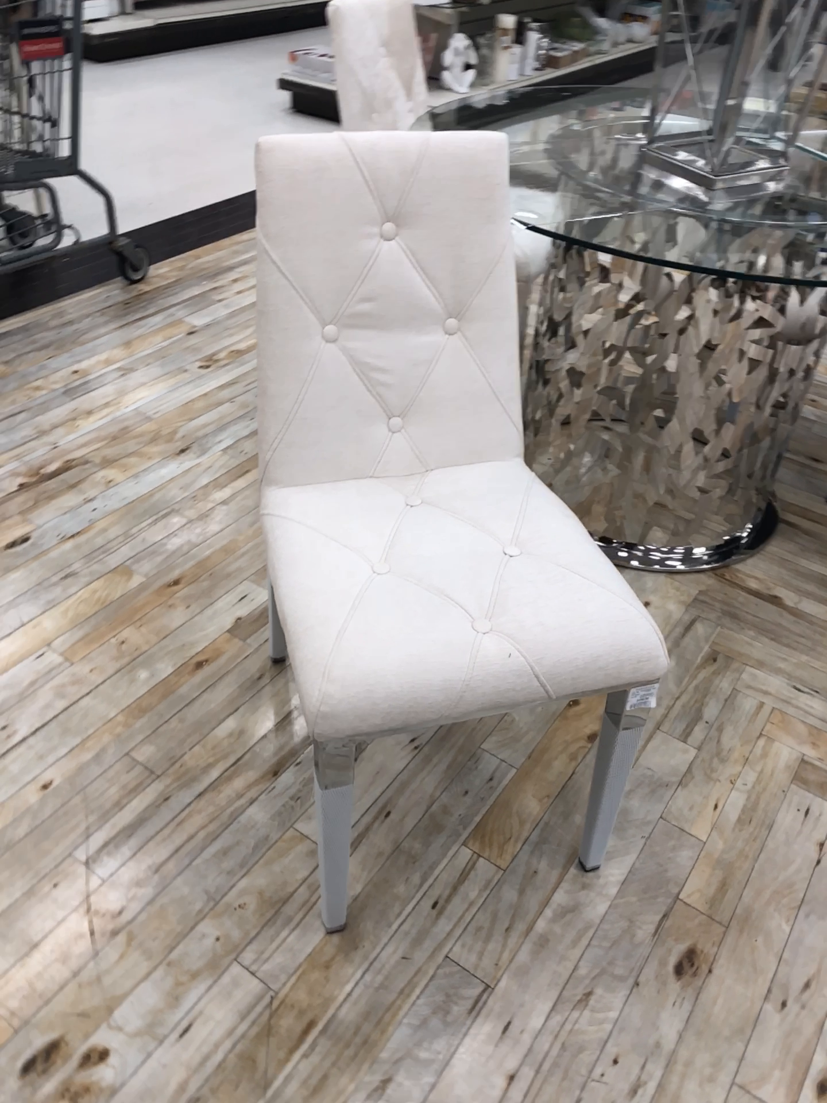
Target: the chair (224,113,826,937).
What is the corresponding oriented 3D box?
[{"bbox_3d":[0.043,-0.034,1.212,0.470,0.886,0.572,-6,39,-13],"label":"chair"}]
